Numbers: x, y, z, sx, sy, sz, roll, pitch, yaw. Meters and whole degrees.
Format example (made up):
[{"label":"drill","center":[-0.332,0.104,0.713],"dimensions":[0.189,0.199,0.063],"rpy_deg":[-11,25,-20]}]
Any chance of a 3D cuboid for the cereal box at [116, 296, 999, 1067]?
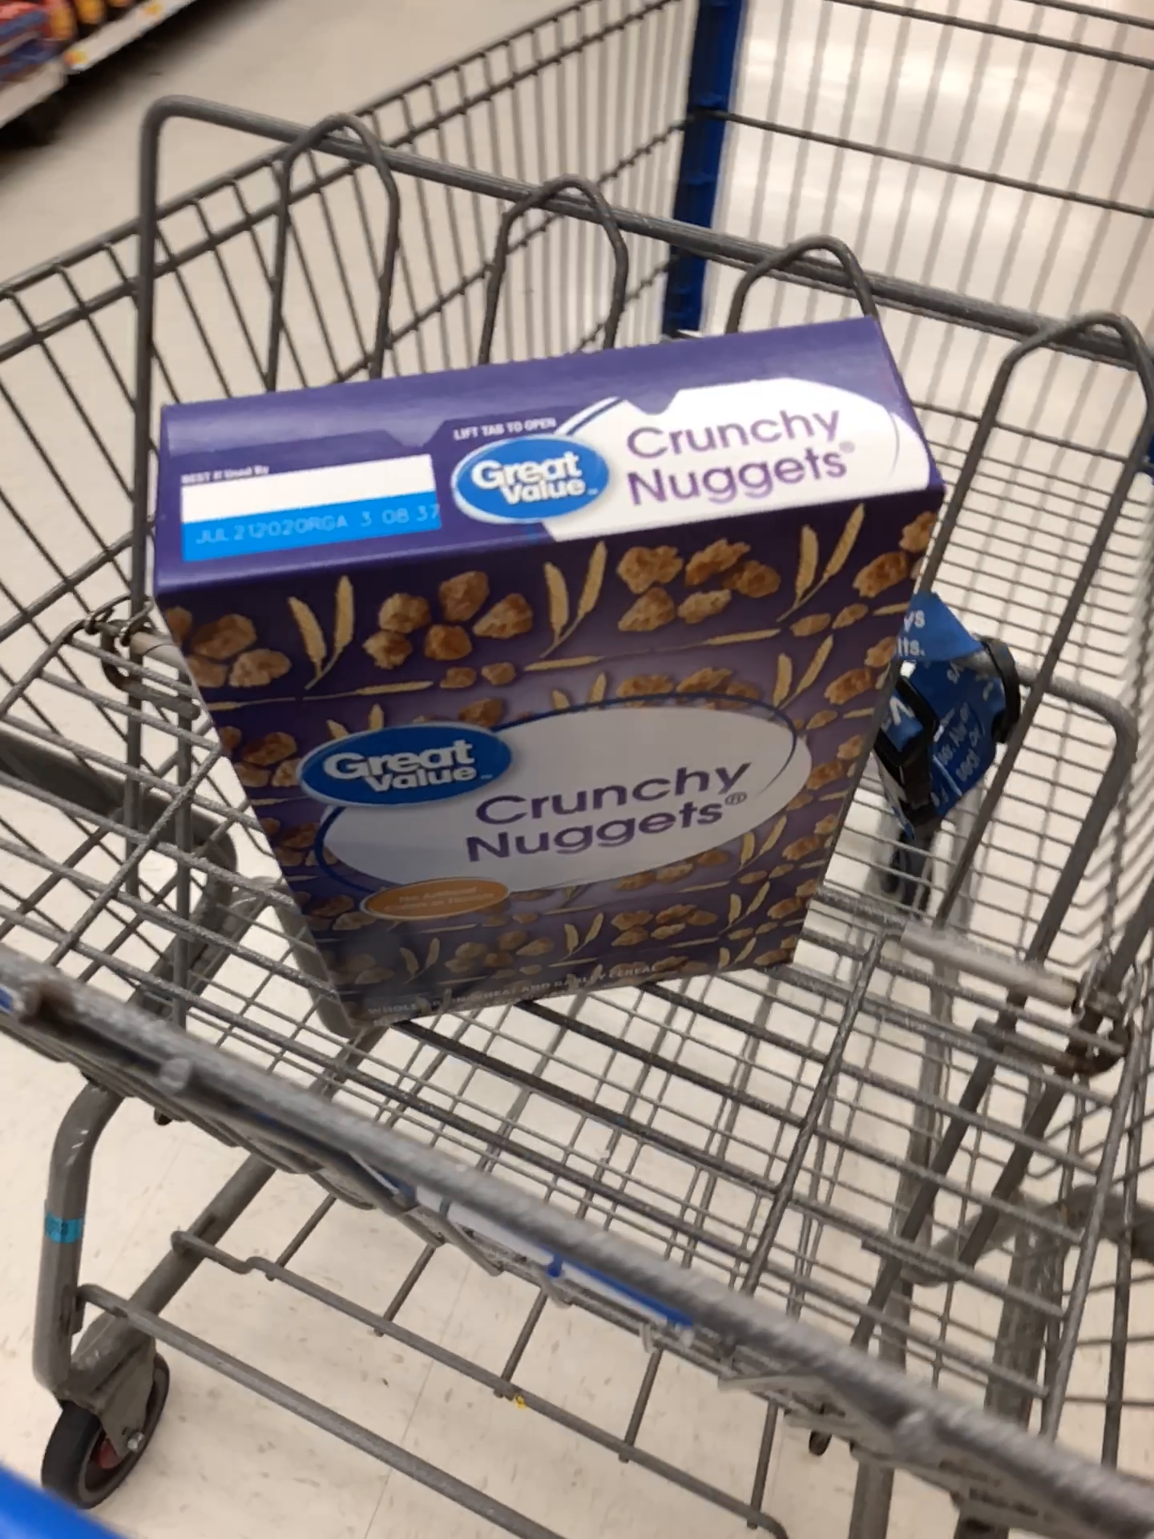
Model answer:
[{"label":"cereal box","center":[-0.008,-0.002,0.357],"dimensions":[0.170,0.240,0.060],"rpy_deg":[-8,57,-7]}]
